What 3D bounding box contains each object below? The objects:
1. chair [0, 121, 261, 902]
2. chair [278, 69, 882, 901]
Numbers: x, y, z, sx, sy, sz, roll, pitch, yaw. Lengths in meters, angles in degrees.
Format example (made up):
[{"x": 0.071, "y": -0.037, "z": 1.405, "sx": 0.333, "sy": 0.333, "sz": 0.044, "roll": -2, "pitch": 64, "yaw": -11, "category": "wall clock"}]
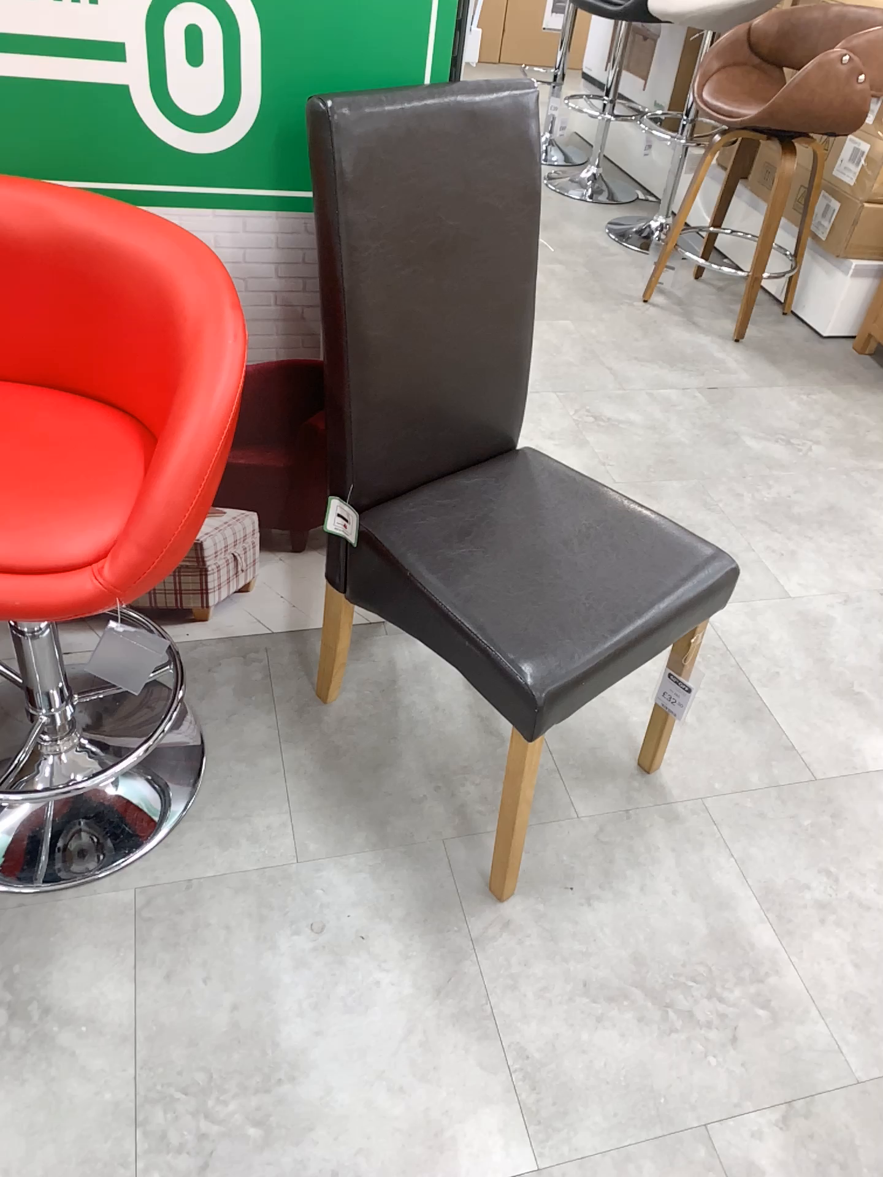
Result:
[{"x": -0.470, "y": -0.053, "z": 1.076, "sx": 0.425, "sy": 0.774, "sz": 0.460, "roll": 5, "pitch": 40, "yaw": -5, "category": "chair"}, {"x": 0.111, "y": -0.131, "z": 1.250, "sx": 0.428, "sy": 0.912, "sz": 0.558, "roll": -27, "pitch": 52, "yaw": -35, "category": "chair"}]
